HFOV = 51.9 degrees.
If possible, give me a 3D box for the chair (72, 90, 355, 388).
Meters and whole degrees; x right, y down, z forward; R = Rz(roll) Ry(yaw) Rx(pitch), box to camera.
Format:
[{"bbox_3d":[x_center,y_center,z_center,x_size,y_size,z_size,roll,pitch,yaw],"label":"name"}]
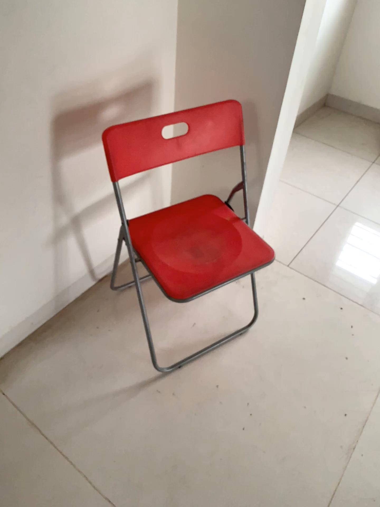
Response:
[{"bbox_3d":[0.029,-0.060,1.205,0.531,0.608,0.501,-23,51,-25],"label":"chair"}]
